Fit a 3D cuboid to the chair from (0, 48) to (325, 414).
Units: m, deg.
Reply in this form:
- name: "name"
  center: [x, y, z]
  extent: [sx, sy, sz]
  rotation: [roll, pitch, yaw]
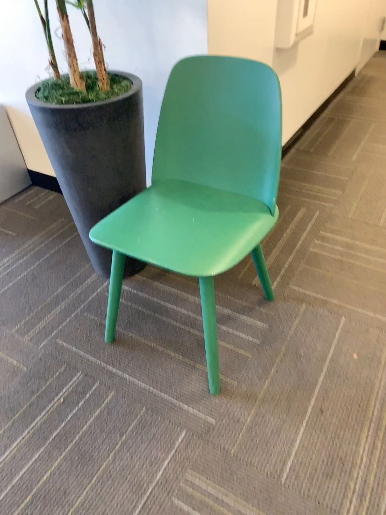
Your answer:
- name: "chair"
  center: [-0.017, -0.106, 1.134]
  extent: [0.501, 0.745, 0.602]
  rotation: [19, 44, 24]
